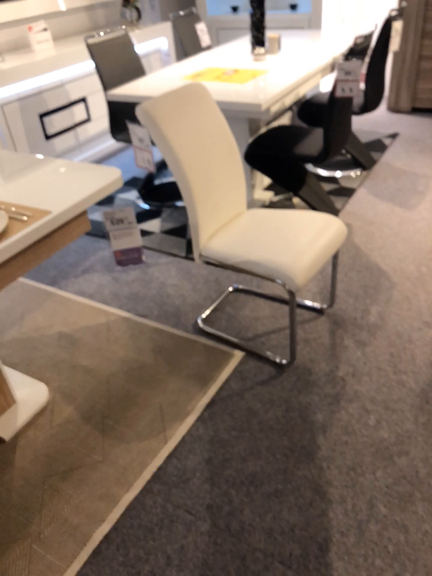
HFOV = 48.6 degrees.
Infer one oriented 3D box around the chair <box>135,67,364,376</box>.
[{"bbox_3d":[0.155,-0.257,1.766,0.550,0.925,0.503,15,40,27],"label":"chair"}]
